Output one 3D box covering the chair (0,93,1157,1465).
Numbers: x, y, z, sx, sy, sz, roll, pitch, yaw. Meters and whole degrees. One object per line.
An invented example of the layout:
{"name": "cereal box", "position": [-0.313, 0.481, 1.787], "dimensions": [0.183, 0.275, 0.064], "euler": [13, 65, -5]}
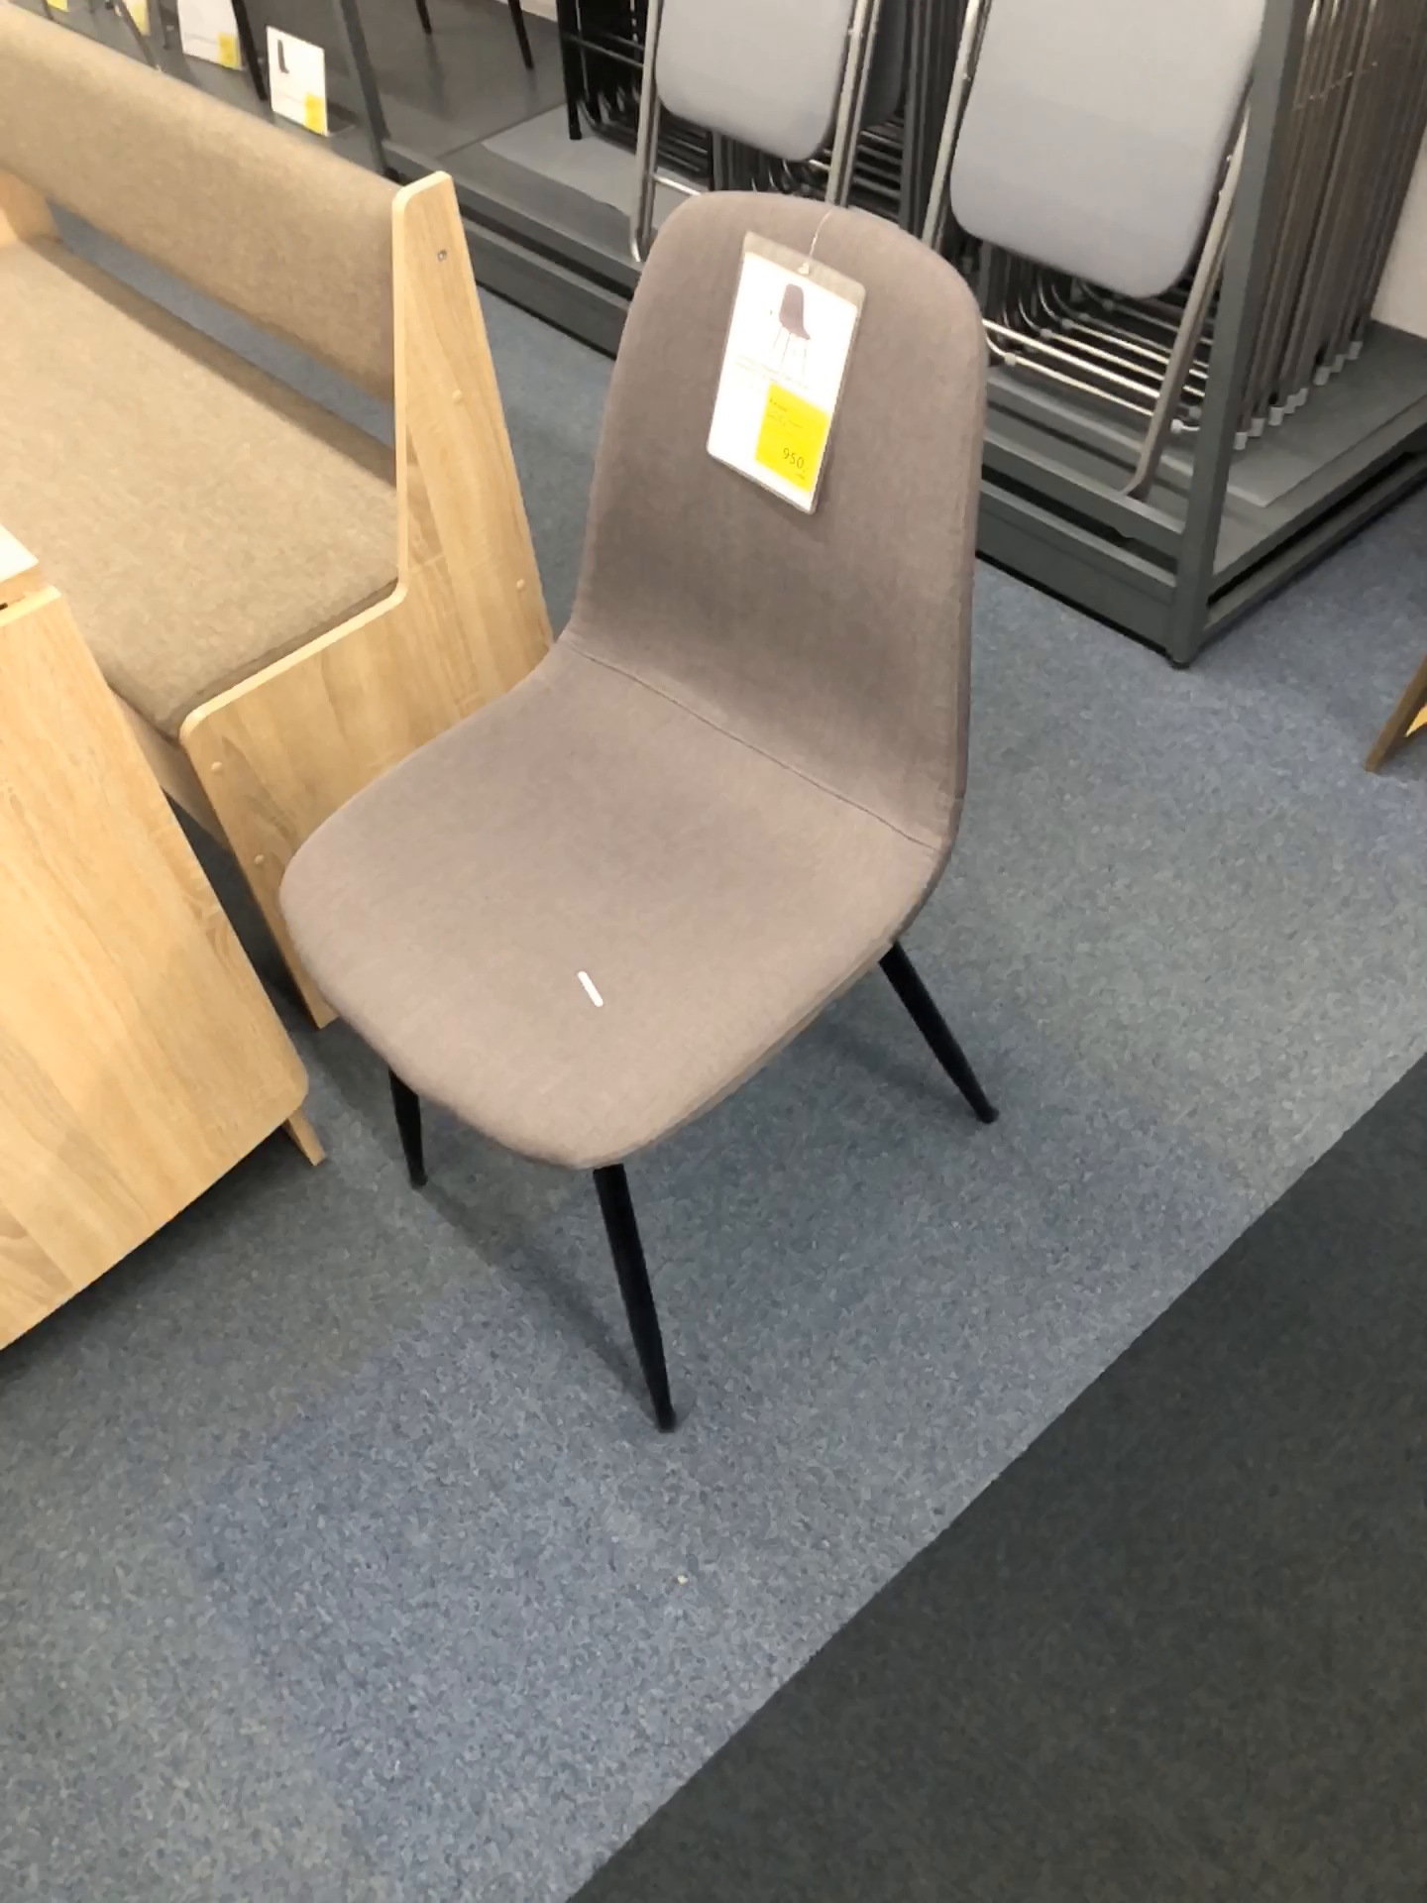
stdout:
{"name": "chair", "position": [-0.058, -0.104, 1.241], "dimensions": [0.541, 0.807, 0.481], "euler": [-39, 56, -23]}
